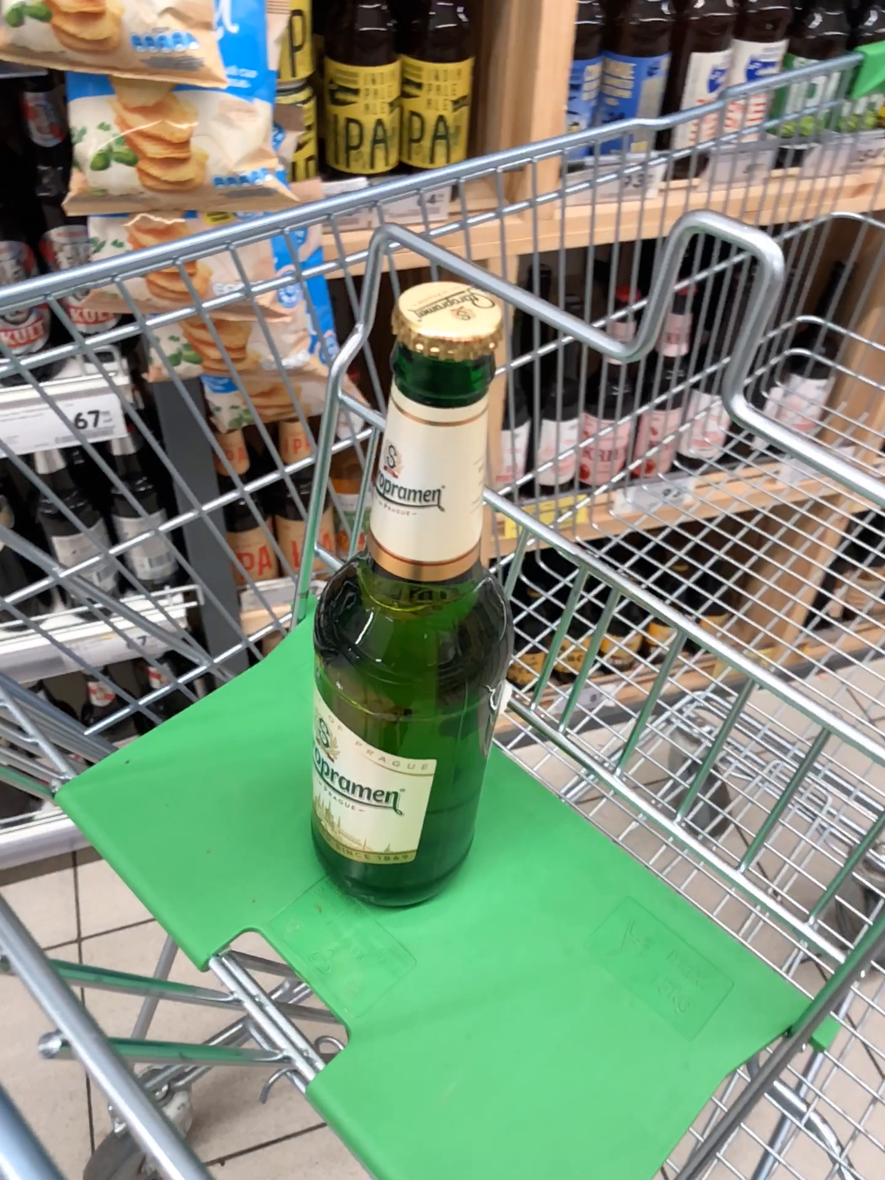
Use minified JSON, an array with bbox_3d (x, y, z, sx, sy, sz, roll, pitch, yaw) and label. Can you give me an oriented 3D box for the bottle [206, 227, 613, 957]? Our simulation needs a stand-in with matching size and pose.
[{"bbox_3d":[-0.017,0.019,0.318,0.070,0.239,0.070,3,44,-3],"label":"bottle"}]
